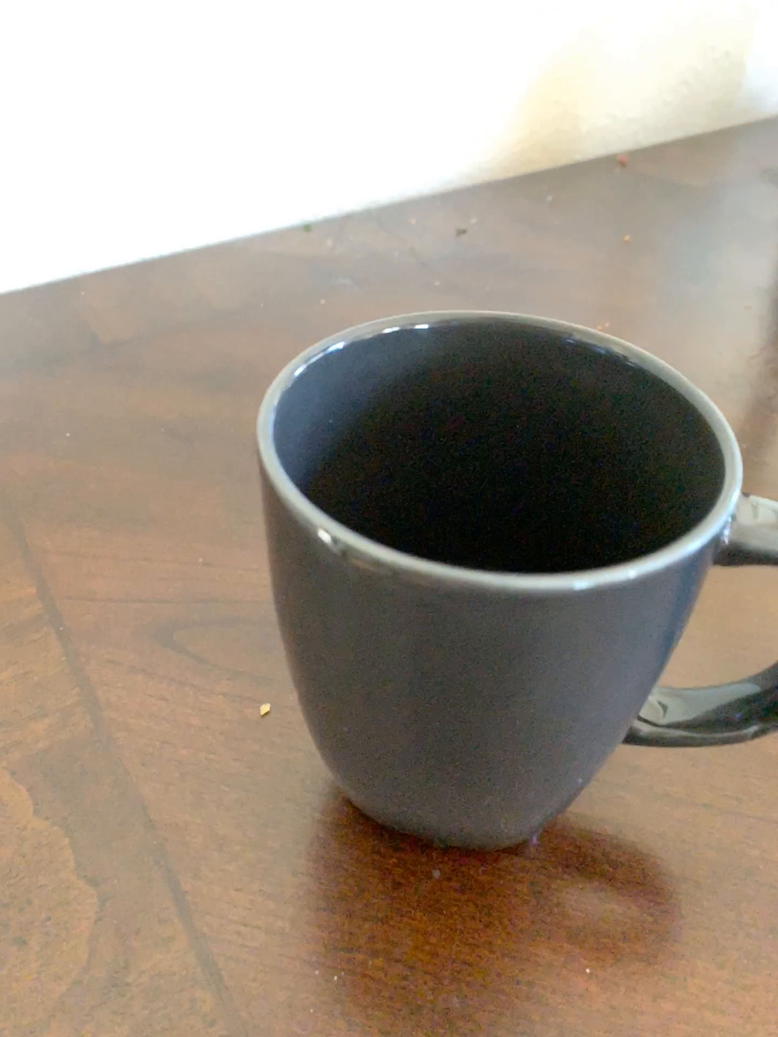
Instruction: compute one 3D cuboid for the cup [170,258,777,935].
[{"bbox_3d":[0.030,0.013,0.171,0.107,0.096,0.089,6,42,8],"label":"cup"}]
